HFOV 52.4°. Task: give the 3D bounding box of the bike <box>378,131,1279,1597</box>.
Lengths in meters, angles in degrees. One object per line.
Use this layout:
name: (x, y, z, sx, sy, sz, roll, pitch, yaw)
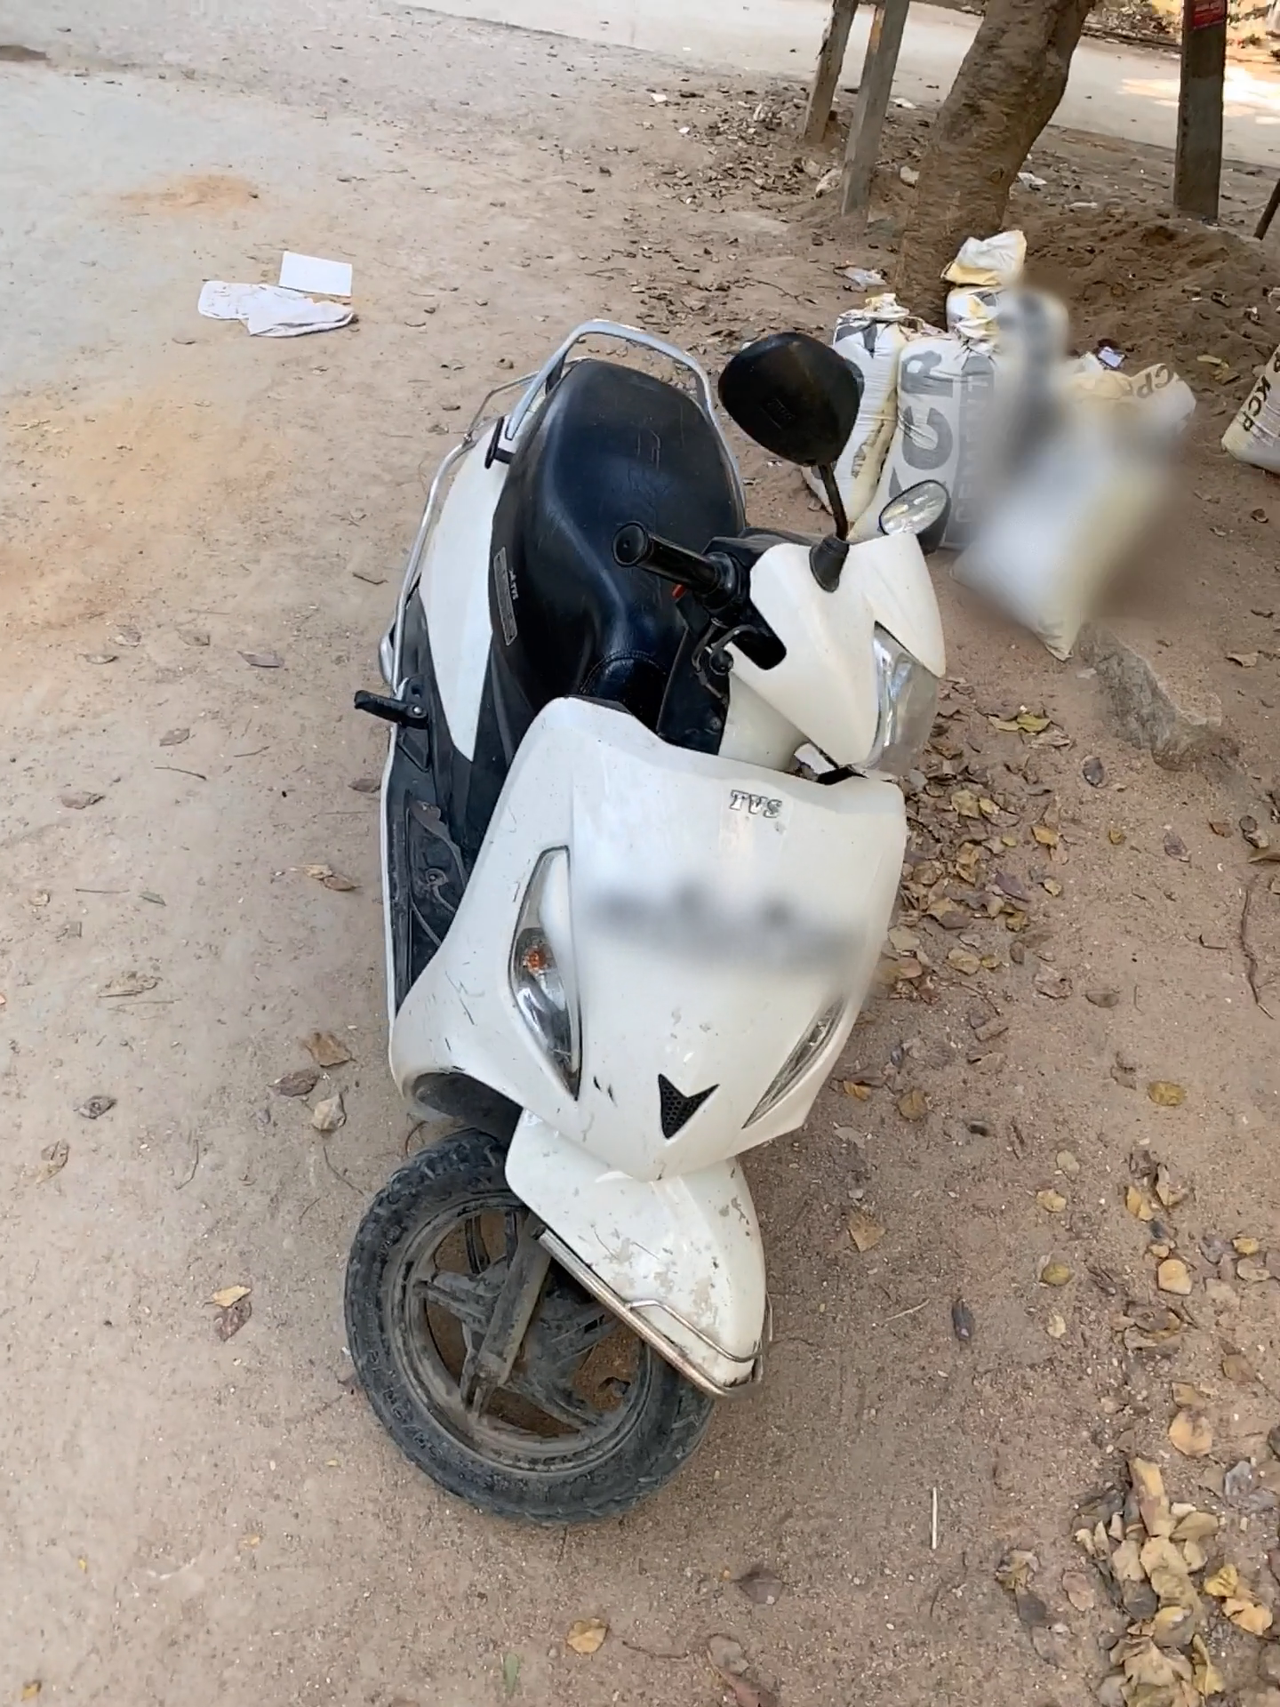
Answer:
bike: (0.089, -0.075, 1.705, 0.686, 1.067, 1.465, -1, 44, -16)
